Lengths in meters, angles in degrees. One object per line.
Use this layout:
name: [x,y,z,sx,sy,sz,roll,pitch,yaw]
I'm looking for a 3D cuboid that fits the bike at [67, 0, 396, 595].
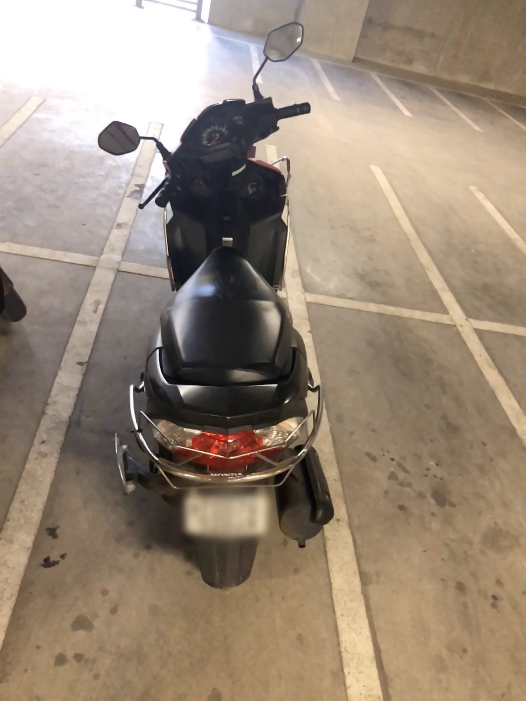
bike: [-0.237,-0.423,2.073,0.582,1.187,1.961,6,41,-12]
